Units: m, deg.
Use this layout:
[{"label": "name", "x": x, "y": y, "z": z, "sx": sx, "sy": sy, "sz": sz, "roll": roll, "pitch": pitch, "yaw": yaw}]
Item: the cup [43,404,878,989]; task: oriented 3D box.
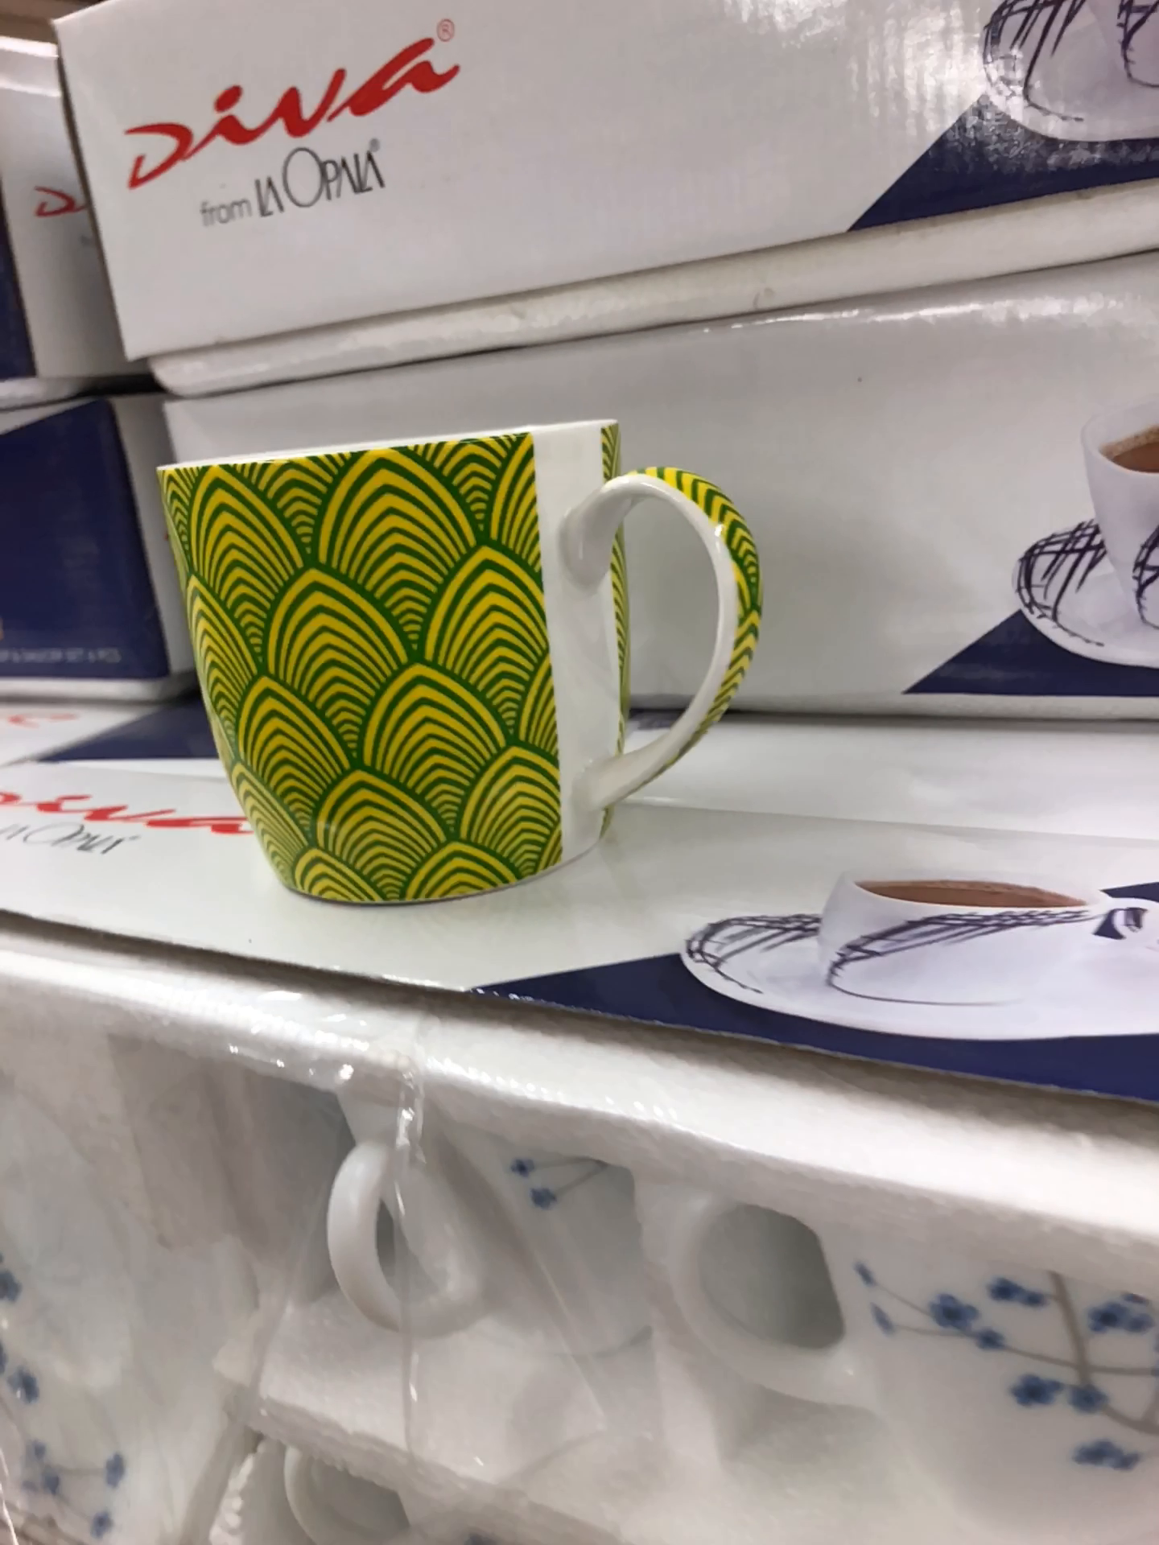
[{"label": "cup", "x": -0.016, "y": -0.021, "z": 0.247, "sx": 0.120, "sy": 0.080, "sz": 0.090, "roll": 1, "pitch": 17, "yaw": 27}]
